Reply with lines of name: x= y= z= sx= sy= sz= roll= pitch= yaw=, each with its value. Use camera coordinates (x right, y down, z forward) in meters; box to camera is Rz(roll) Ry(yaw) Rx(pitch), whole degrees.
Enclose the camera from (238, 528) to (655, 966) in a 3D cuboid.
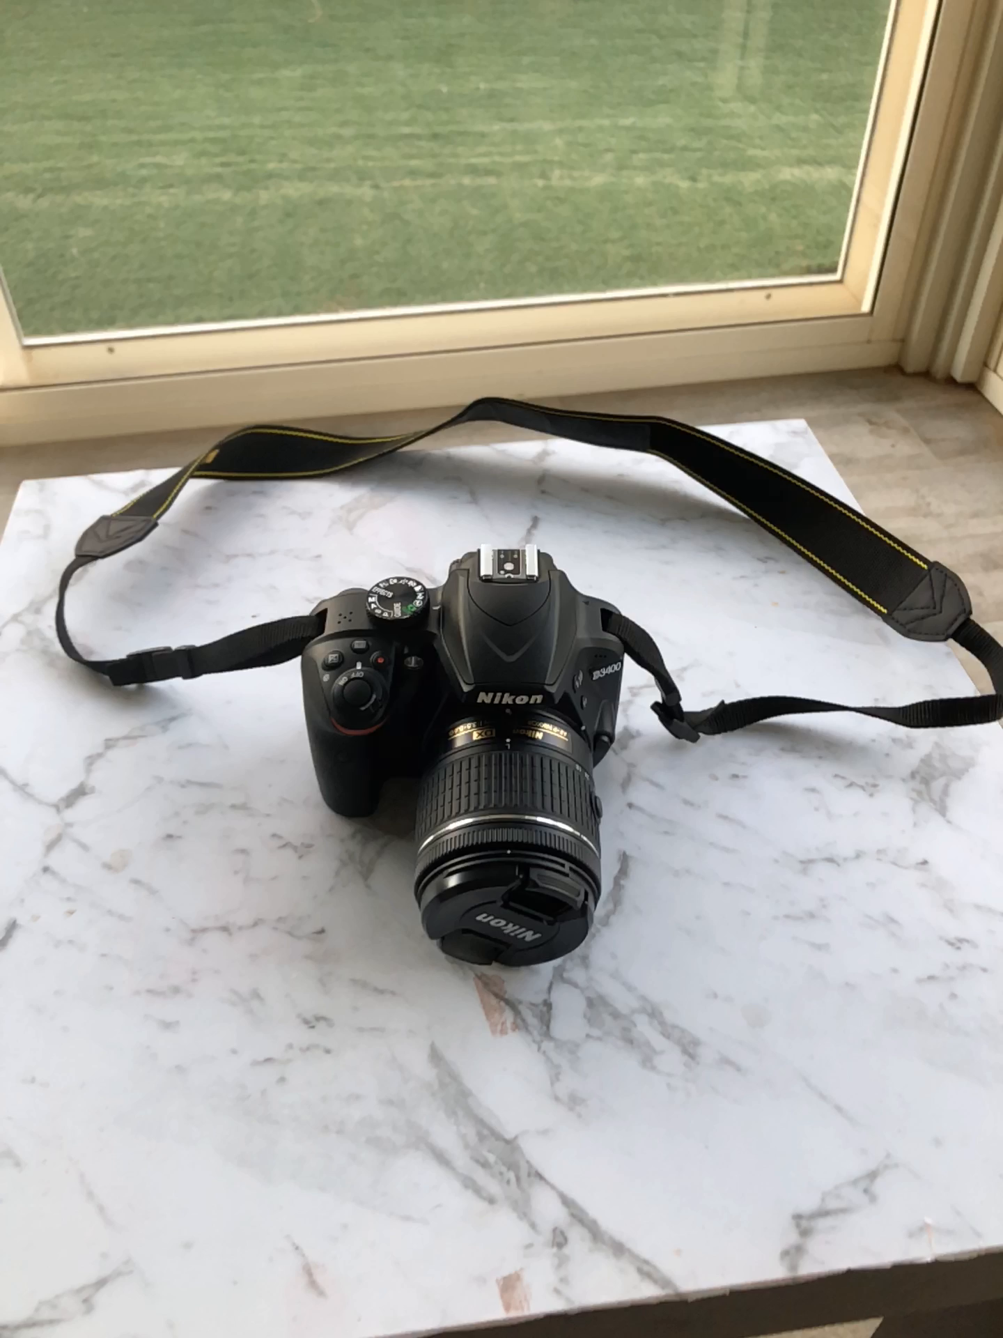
camera: x=-0.016 y=0.024 z=0.398 sx=0.121 sy=0.076 sz=0.138 roll=-1 pitch=45 yaw=0
